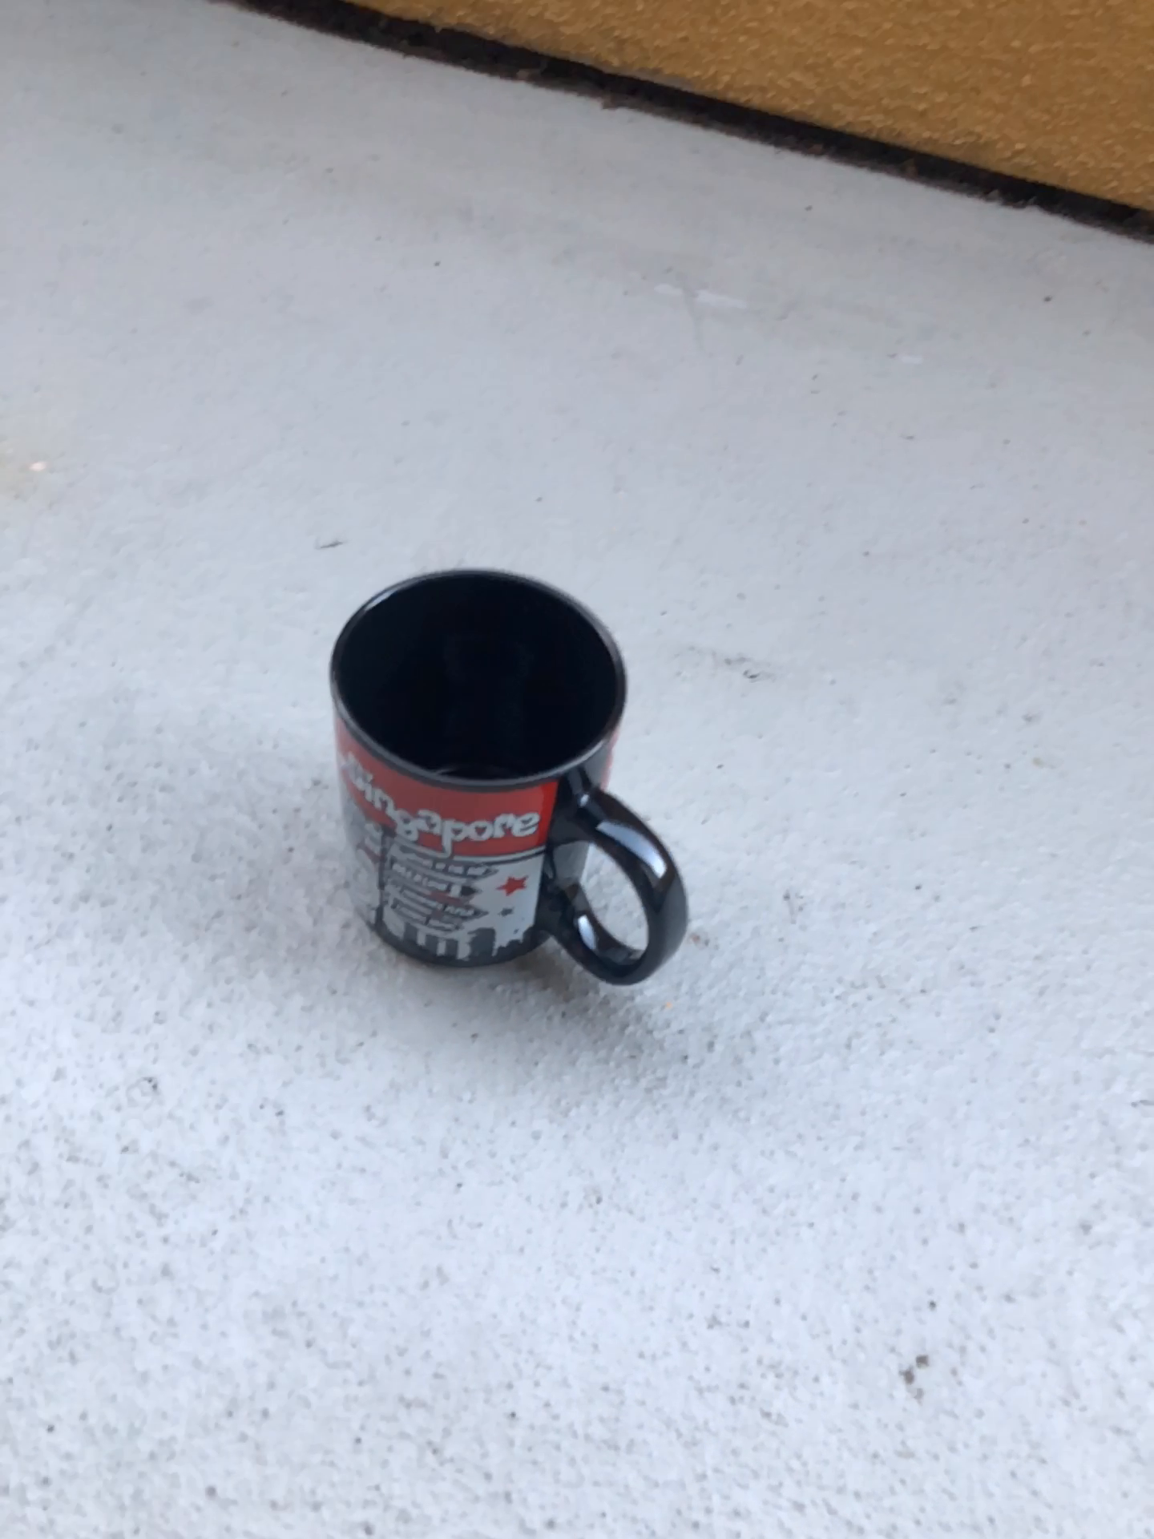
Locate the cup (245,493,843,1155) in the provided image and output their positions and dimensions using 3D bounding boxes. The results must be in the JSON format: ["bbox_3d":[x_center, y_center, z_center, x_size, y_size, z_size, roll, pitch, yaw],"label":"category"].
[{"bbox_3d":[-0.015,0.015,0.359,0.130,0.110,0.080,39,57,21],"label":"cup"}]
